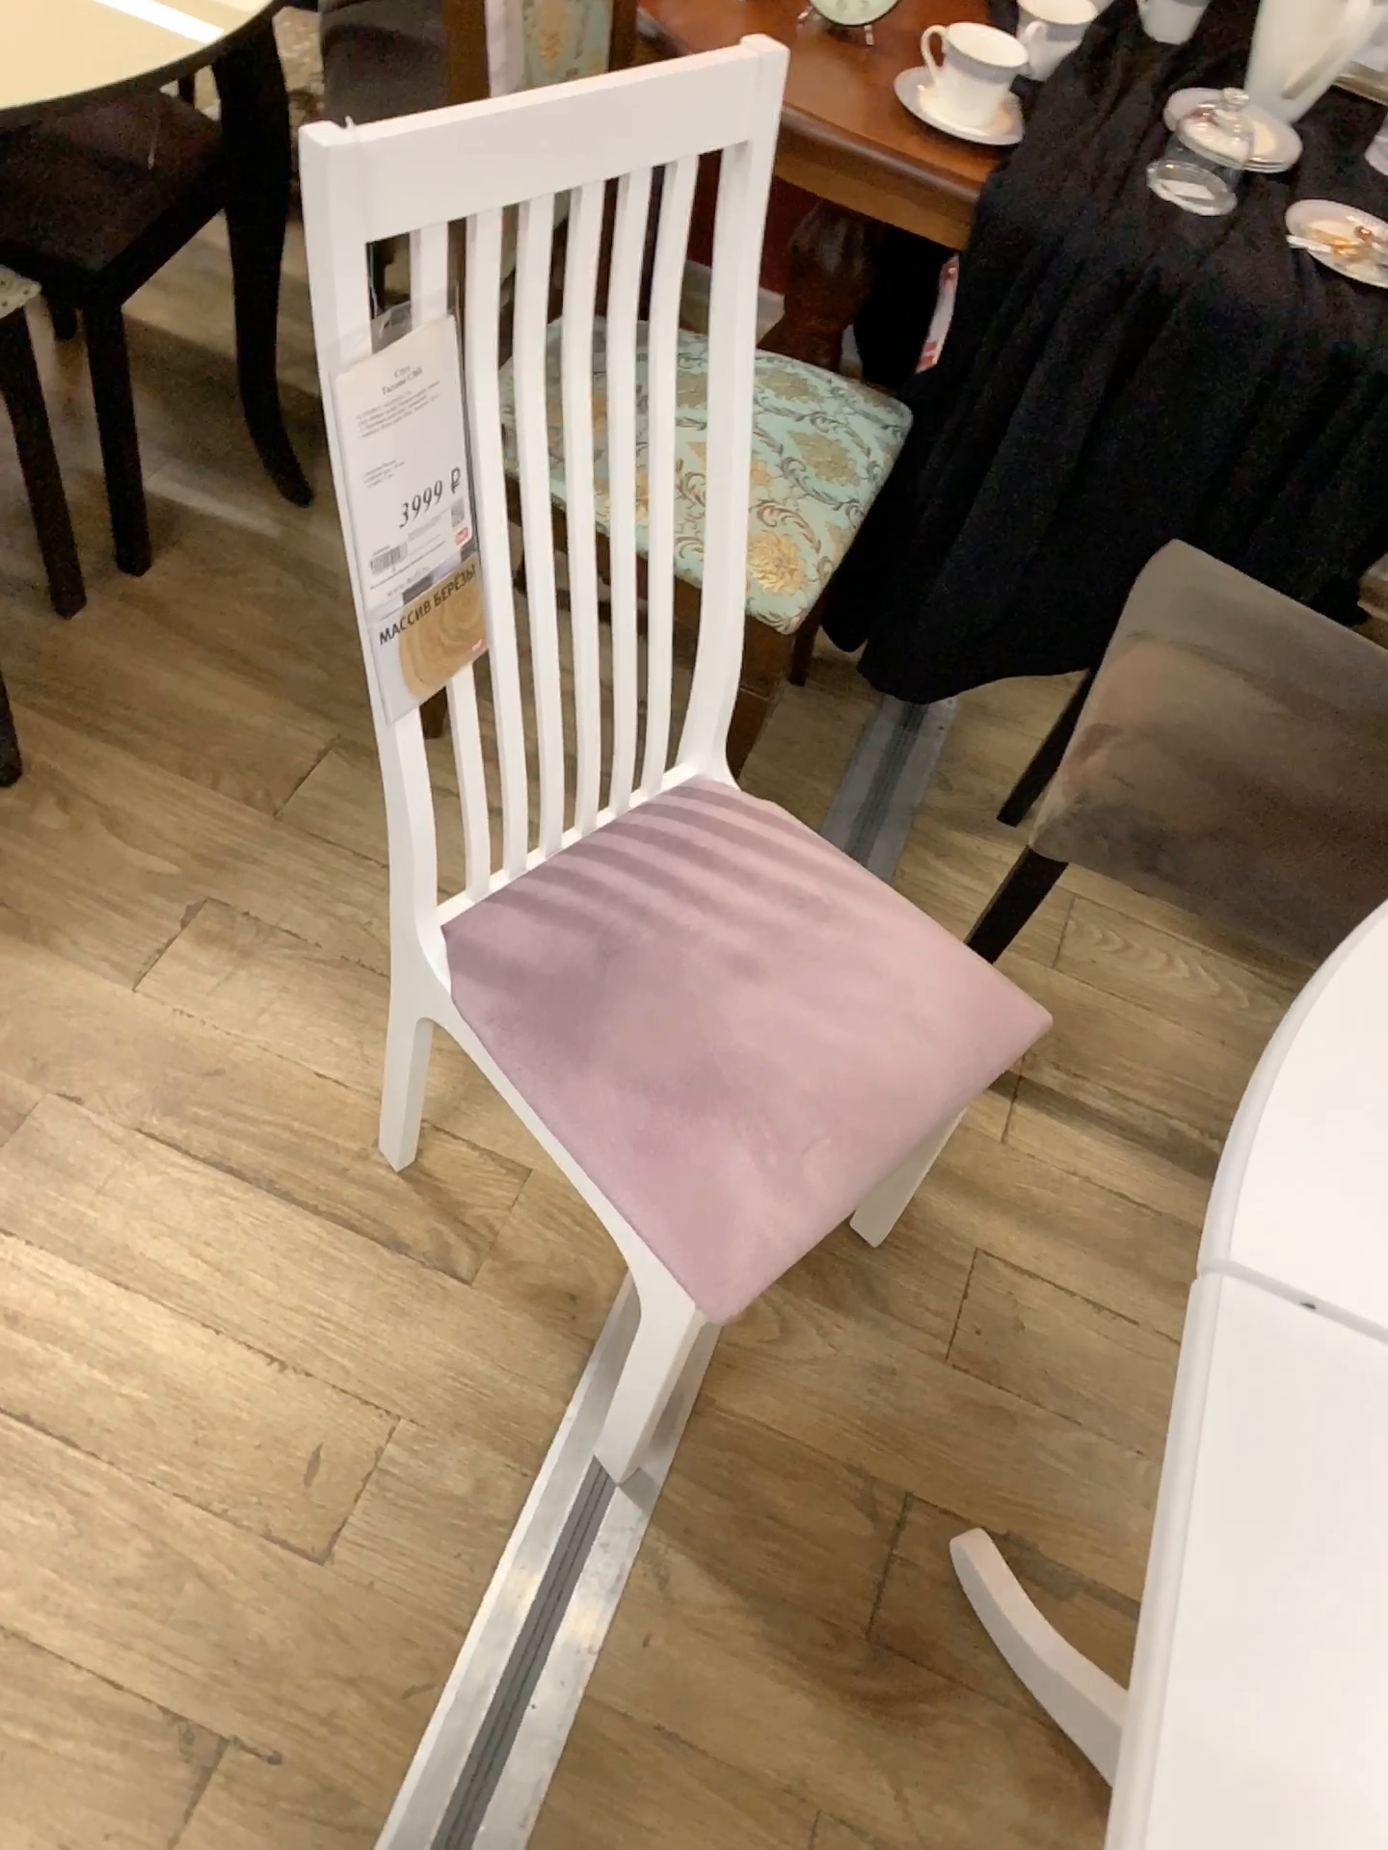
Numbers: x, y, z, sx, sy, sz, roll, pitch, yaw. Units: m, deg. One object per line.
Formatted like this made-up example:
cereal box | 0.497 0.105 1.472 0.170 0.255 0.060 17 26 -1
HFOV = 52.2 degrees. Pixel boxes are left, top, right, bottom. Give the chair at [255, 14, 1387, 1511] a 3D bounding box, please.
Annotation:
chair | 0.015 -0.030 1.123 0.442 1.003 0.520 -34 68 -33
